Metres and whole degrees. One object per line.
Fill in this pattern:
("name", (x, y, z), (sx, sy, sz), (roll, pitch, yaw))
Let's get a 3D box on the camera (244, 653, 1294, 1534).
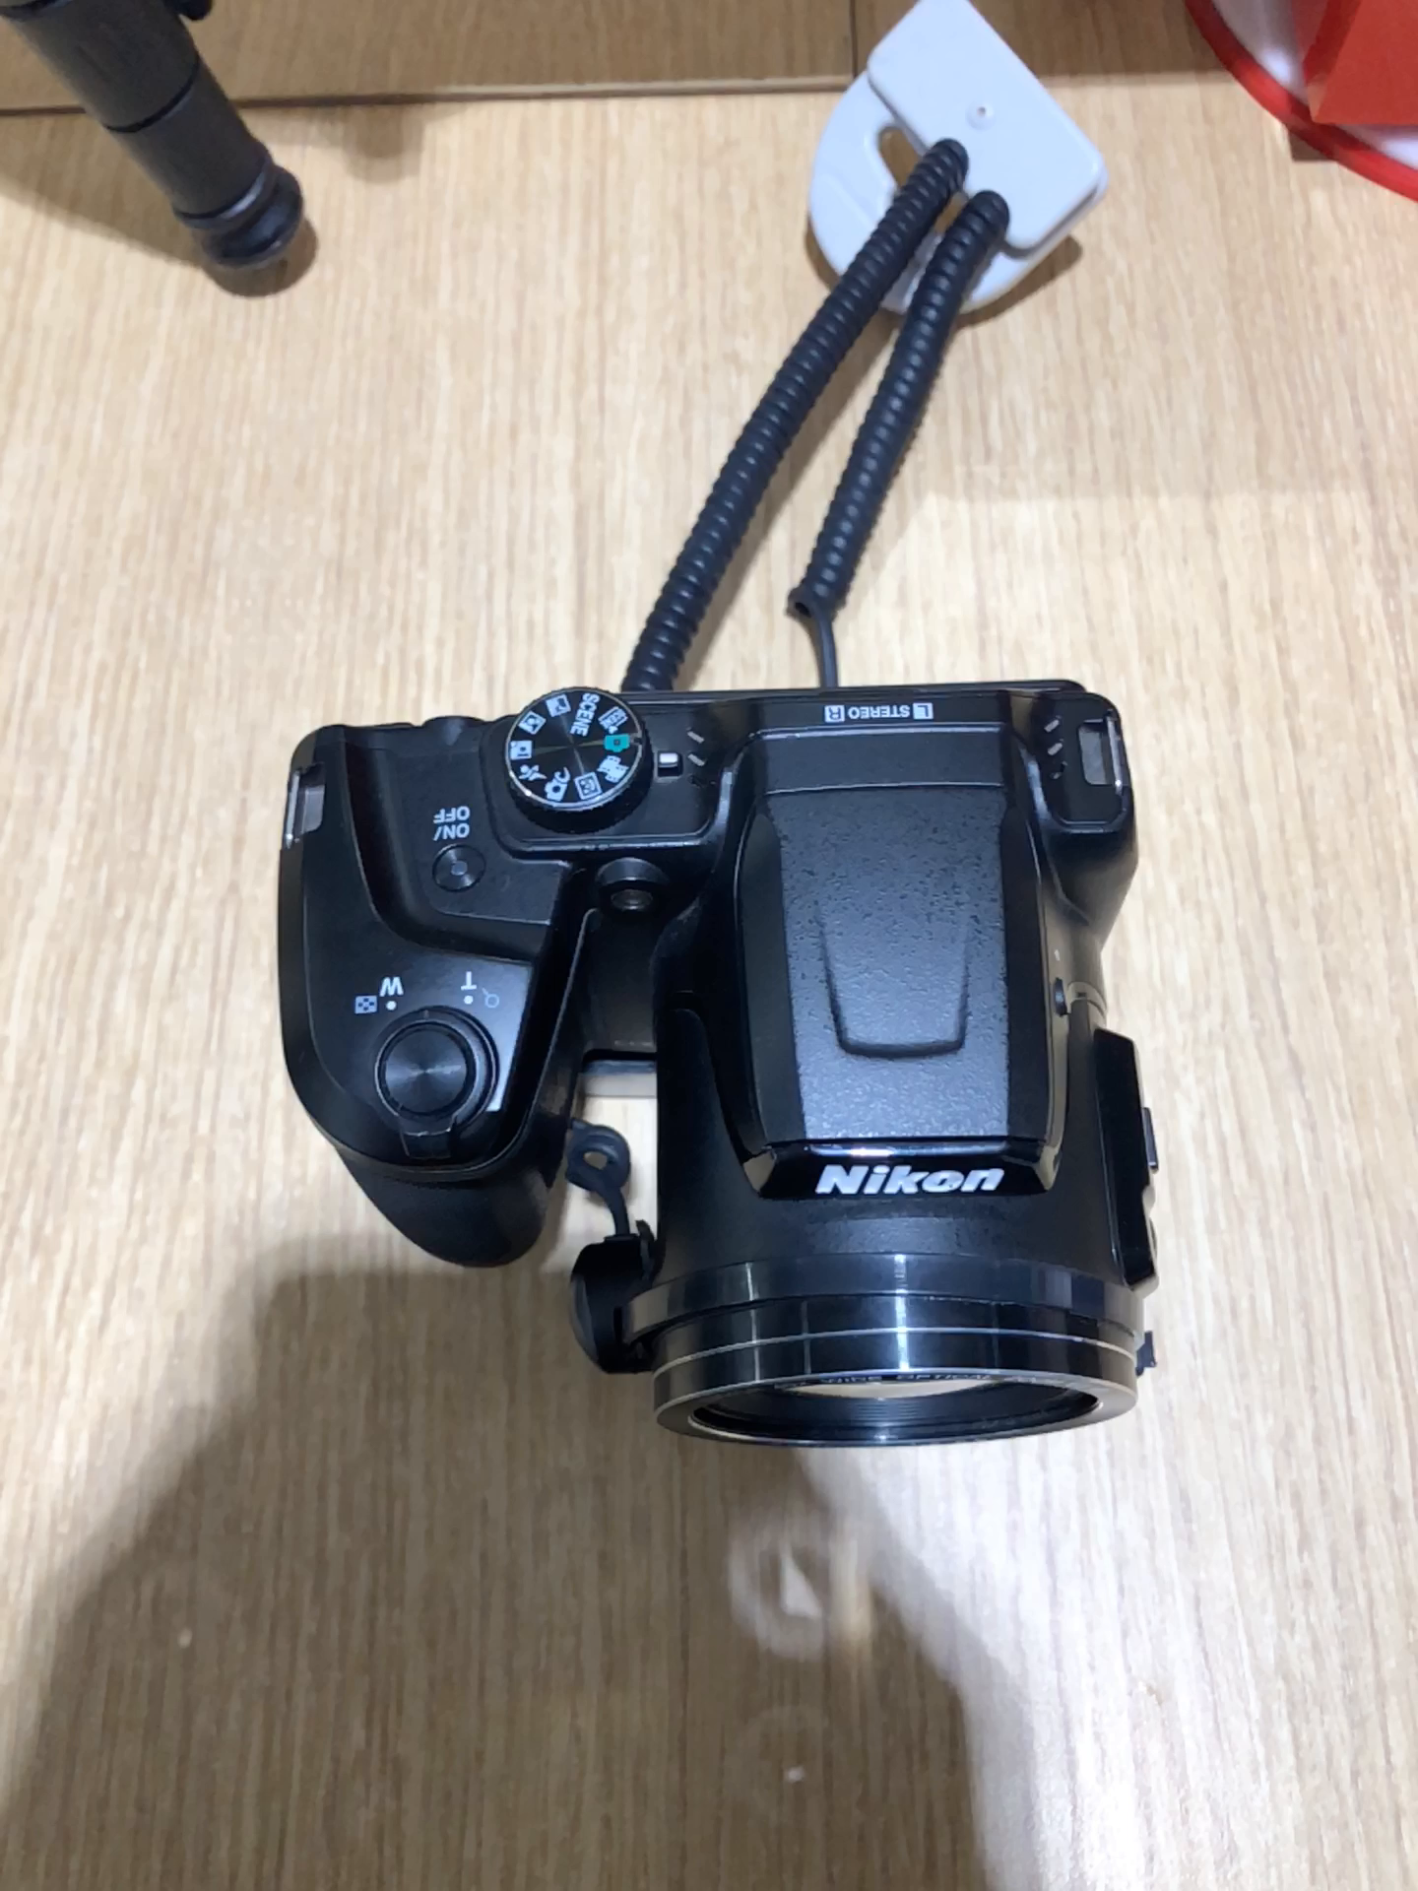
("camera", (0.005, 0.024, 0.205), (0.103, 0.070, 0.093), (-3, 68, 1))
